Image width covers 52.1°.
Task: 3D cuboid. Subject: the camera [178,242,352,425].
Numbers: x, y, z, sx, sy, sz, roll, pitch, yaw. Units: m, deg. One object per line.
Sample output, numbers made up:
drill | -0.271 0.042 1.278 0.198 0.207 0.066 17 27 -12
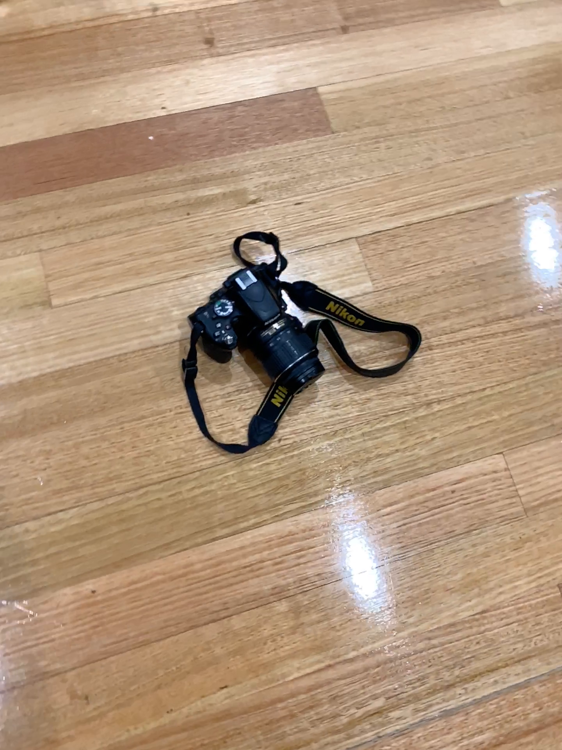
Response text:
camera | -0.023 -0.048 0.717 0.130 0.100 0.160 -39 81 -14
